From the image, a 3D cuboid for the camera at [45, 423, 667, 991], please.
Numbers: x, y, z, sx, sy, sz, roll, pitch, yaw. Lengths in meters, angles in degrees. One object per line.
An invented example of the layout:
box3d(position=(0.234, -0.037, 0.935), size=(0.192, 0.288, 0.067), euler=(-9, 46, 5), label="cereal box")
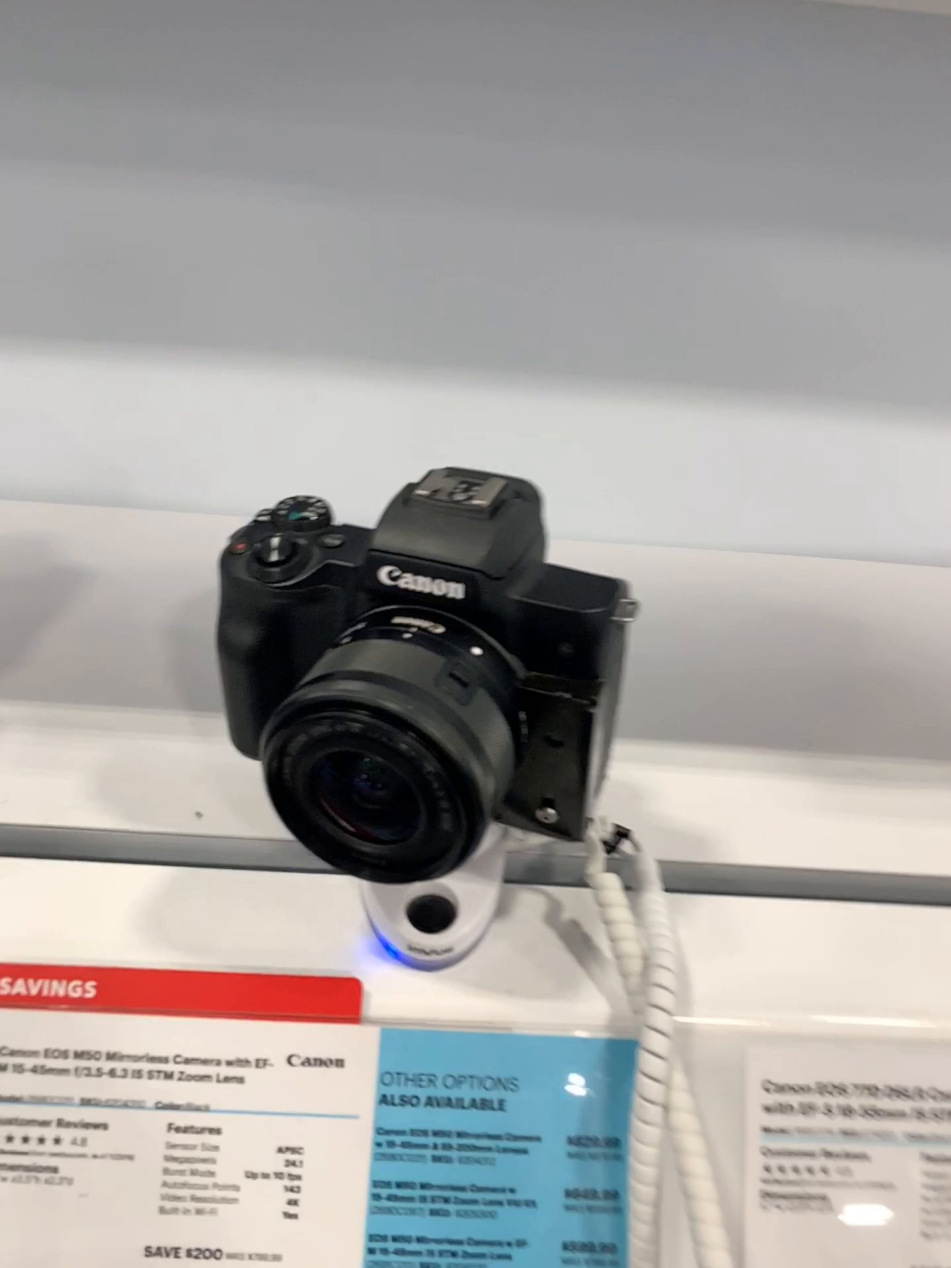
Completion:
box3d(position=(-0.021, 0.009, 0.261), size=(0.121, 0.080, 0.111), euler=(11, 33, 10), label="camera")
